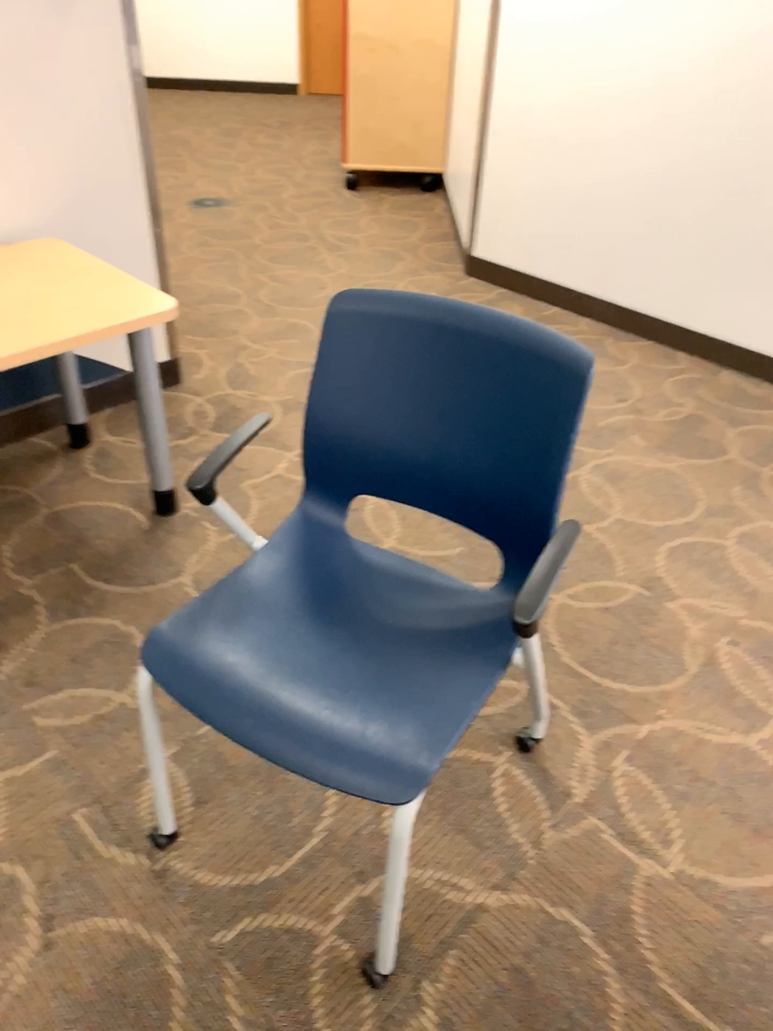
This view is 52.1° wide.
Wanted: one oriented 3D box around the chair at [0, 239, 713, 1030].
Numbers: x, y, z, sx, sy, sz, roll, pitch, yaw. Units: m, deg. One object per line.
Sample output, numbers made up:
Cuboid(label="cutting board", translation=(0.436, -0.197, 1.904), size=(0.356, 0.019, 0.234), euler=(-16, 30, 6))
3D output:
Cuboid(label="chair", translation=(-0.043, 0.113, 1.061), size=(0.621, 0.687, 0.612), euler=(21, 40, 23))
